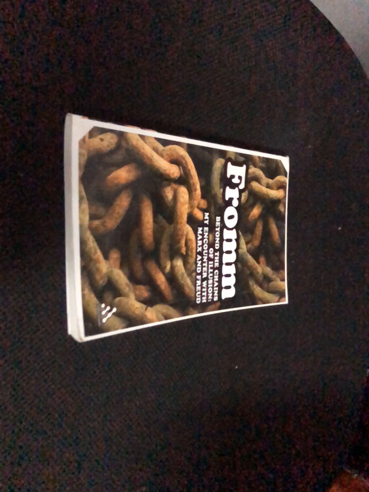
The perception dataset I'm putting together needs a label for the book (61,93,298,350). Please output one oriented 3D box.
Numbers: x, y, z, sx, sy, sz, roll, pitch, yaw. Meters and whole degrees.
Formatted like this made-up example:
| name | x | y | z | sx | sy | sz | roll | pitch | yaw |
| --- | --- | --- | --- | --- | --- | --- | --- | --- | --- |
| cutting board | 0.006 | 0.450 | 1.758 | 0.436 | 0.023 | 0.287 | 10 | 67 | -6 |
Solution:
| name | x | y | z | sx | sy | sz | roll | pitch | yaw |
| --- | --- | --- | --- | --- | --- | --- | --- | --- | --- |
| book | 0.011 | -0.013 | 0.291 | 0.196 | 0.016 | 0.144 | 1 | 88 | -36 |
